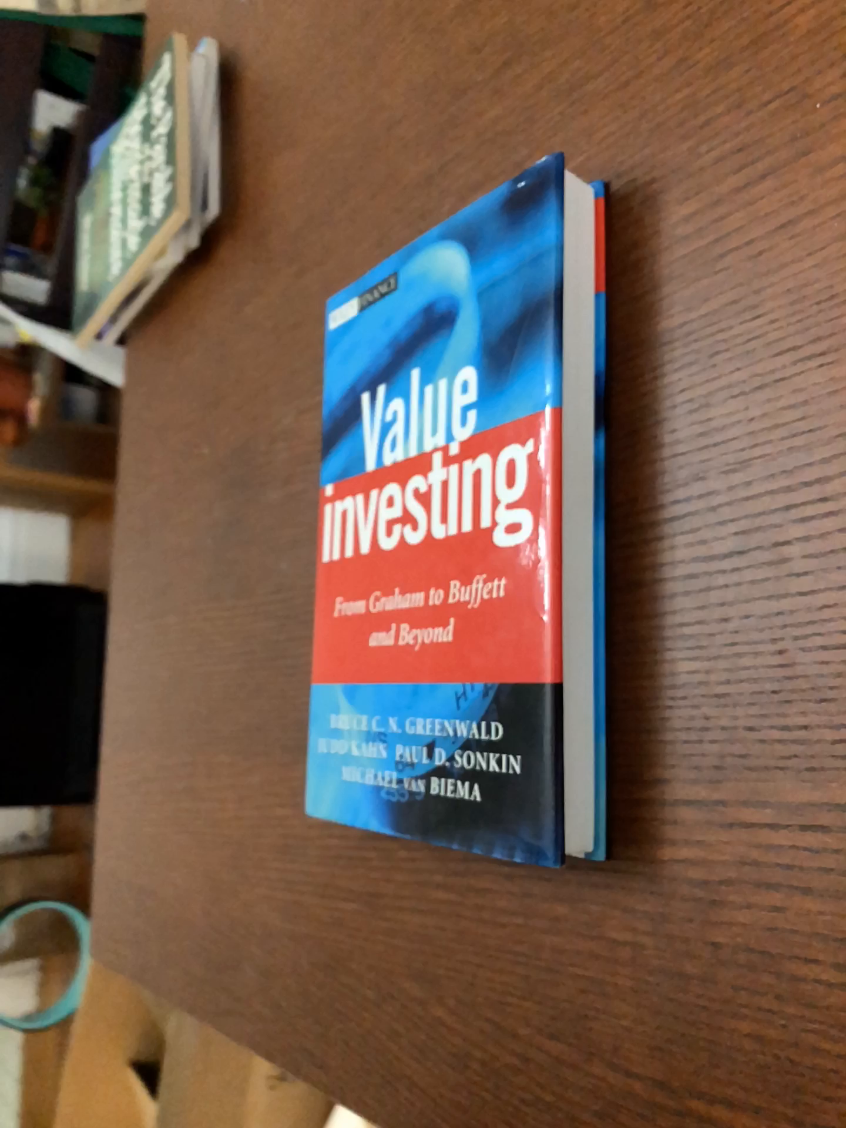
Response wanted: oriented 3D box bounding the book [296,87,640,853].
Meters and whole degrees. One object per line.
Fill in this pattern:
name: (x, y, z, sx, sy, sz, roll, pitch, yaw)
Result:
book: (0.008, -0.025, 0.352, 0.171, 0.020, 0.230, -9, 77, 54)
